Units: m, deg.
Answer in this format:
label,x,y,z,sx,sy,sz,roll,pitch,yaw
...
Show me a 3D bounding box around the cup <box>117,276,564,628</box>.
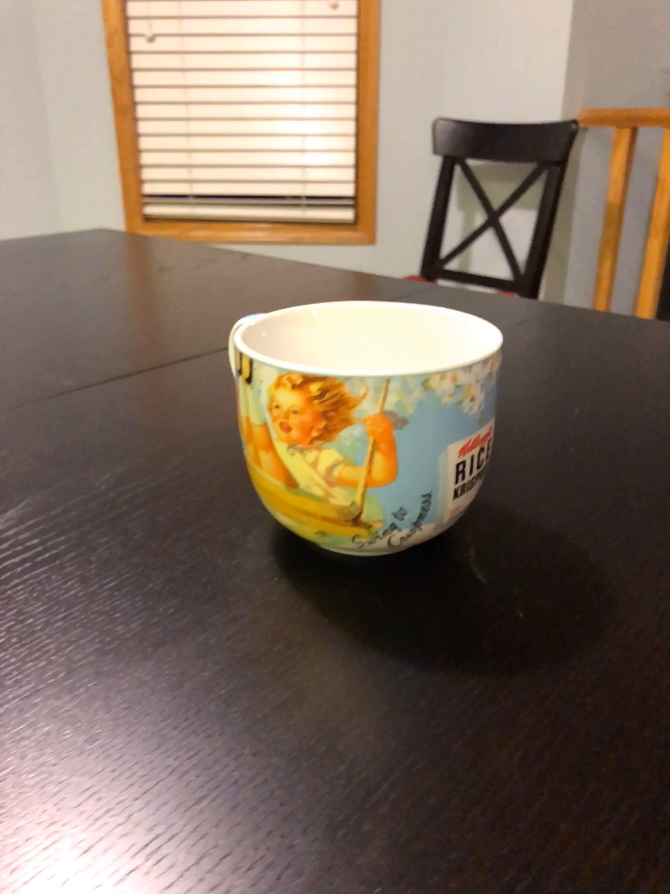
label,x,y,z,sx,sy,sz,roll,pitch,yaw
cup,0.001,-0.014,0.340,0.150,0.090,0.120,20,30,38
